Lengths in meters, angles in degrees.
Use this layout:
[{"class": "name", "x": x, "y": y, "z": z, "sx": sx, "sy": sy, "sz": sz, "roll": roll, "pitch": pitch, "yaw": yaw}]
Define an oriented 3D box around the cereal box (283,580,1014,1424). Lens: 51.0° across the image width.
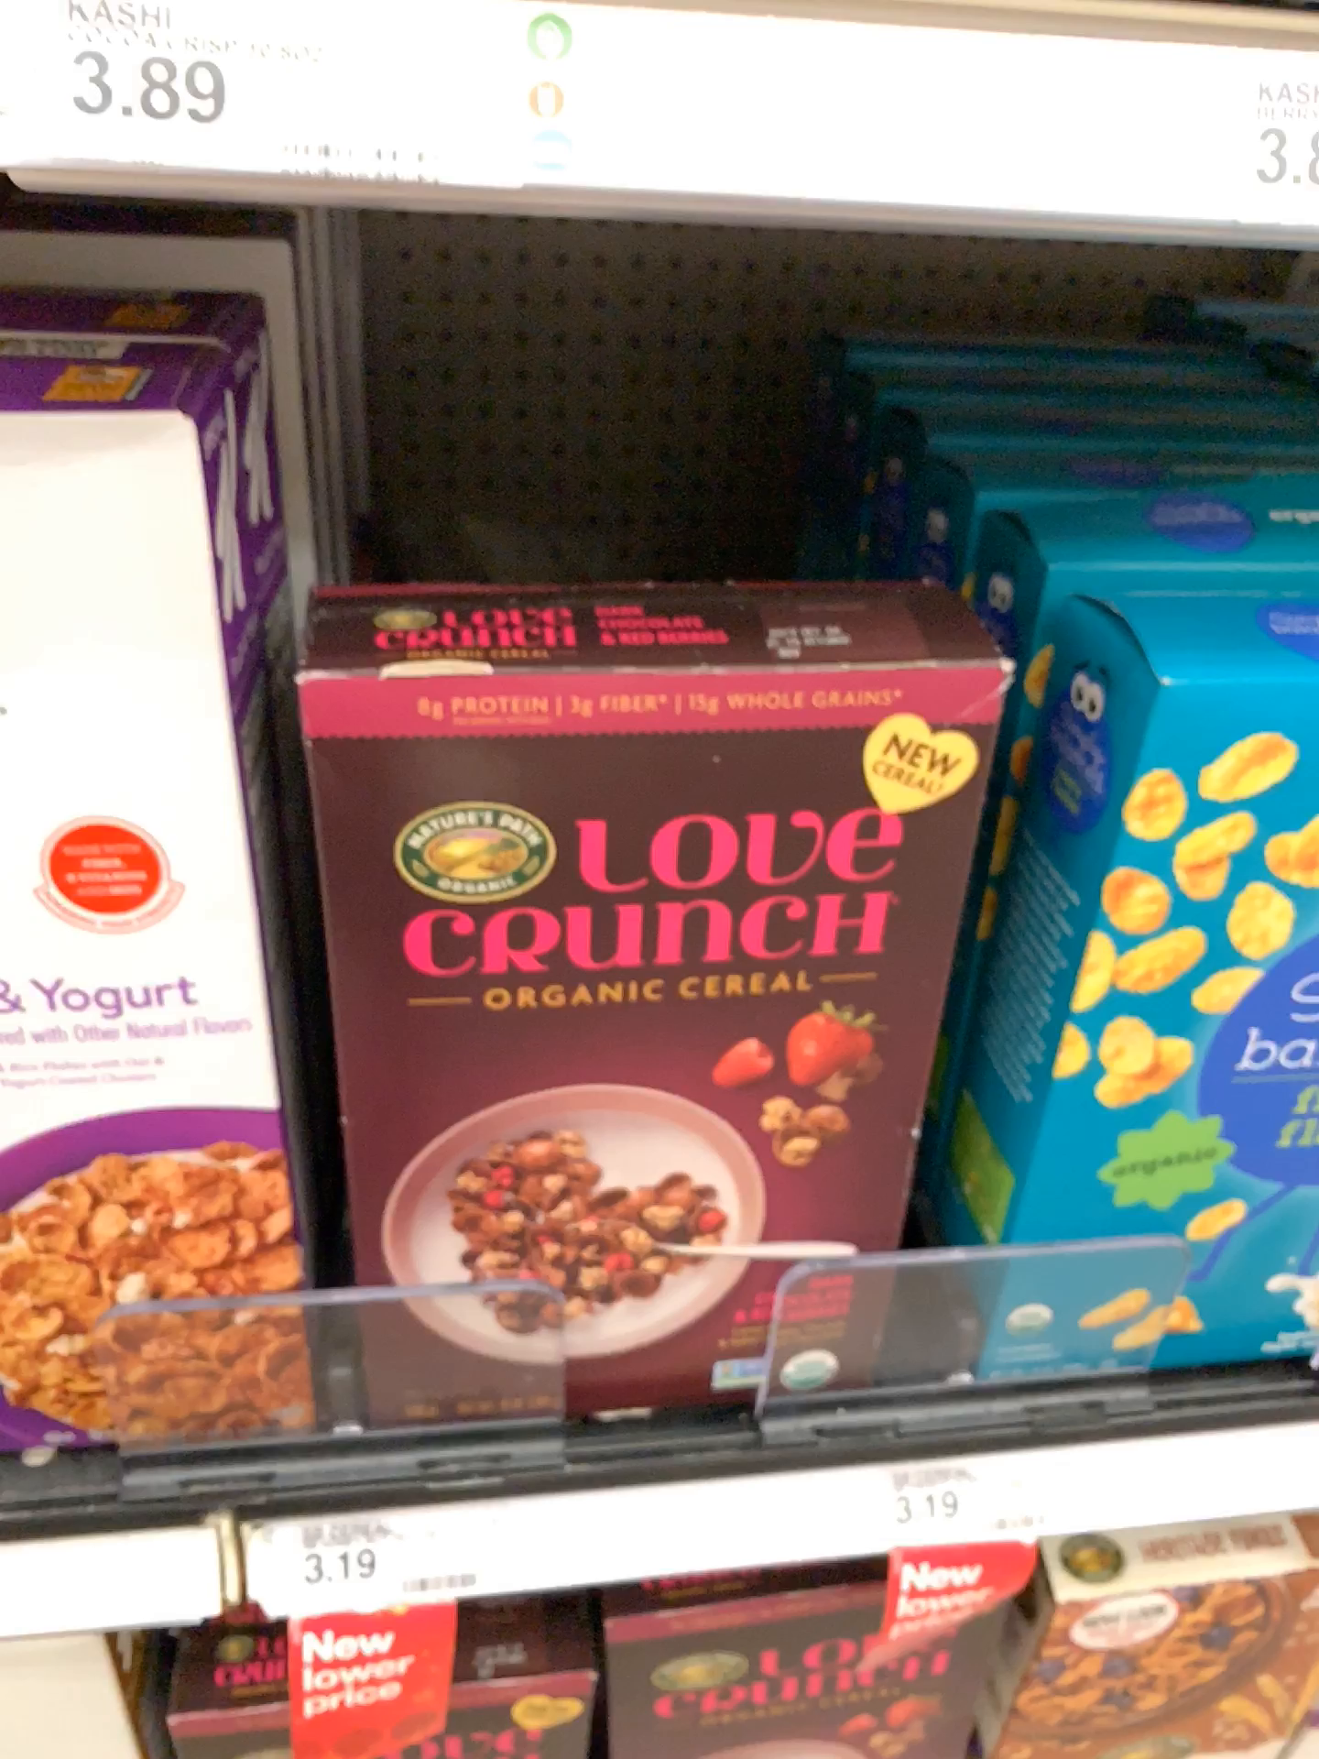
[{"class": "cereal box", "x": -0.009, "y": 0.045, "z": 0.388, "sx": 0.160, "sy": 0.249, "sz": 0.050, "roll": -2, "pitch": 33, "yaw": -9}]
